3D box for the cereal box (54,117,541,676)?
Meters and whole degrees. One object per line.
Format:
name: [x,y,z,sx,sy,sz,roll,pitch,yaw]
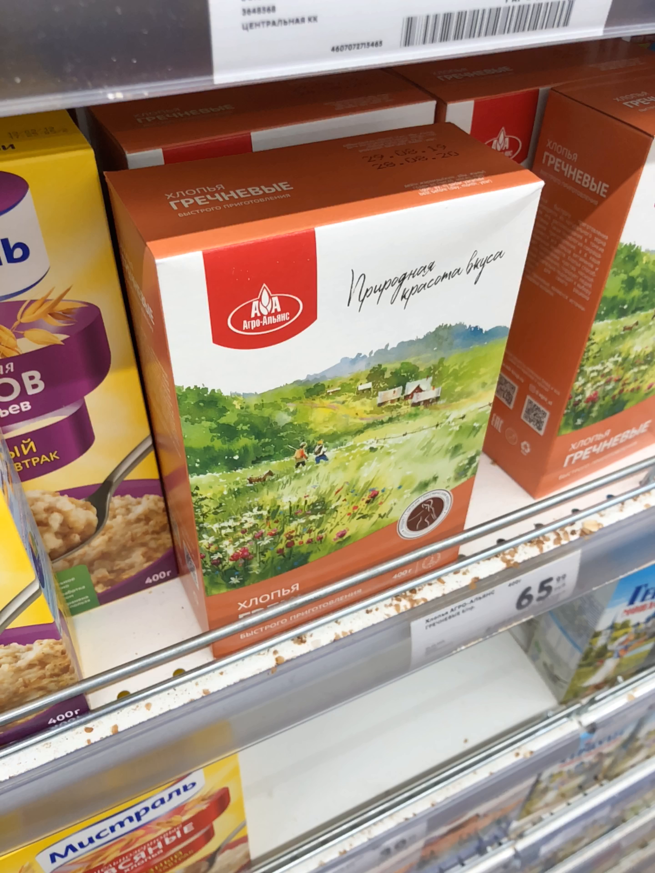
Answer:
cereal box: [-0.008,-0.006,0.289,0.140,0.199,0.050,-18,46,-20]
